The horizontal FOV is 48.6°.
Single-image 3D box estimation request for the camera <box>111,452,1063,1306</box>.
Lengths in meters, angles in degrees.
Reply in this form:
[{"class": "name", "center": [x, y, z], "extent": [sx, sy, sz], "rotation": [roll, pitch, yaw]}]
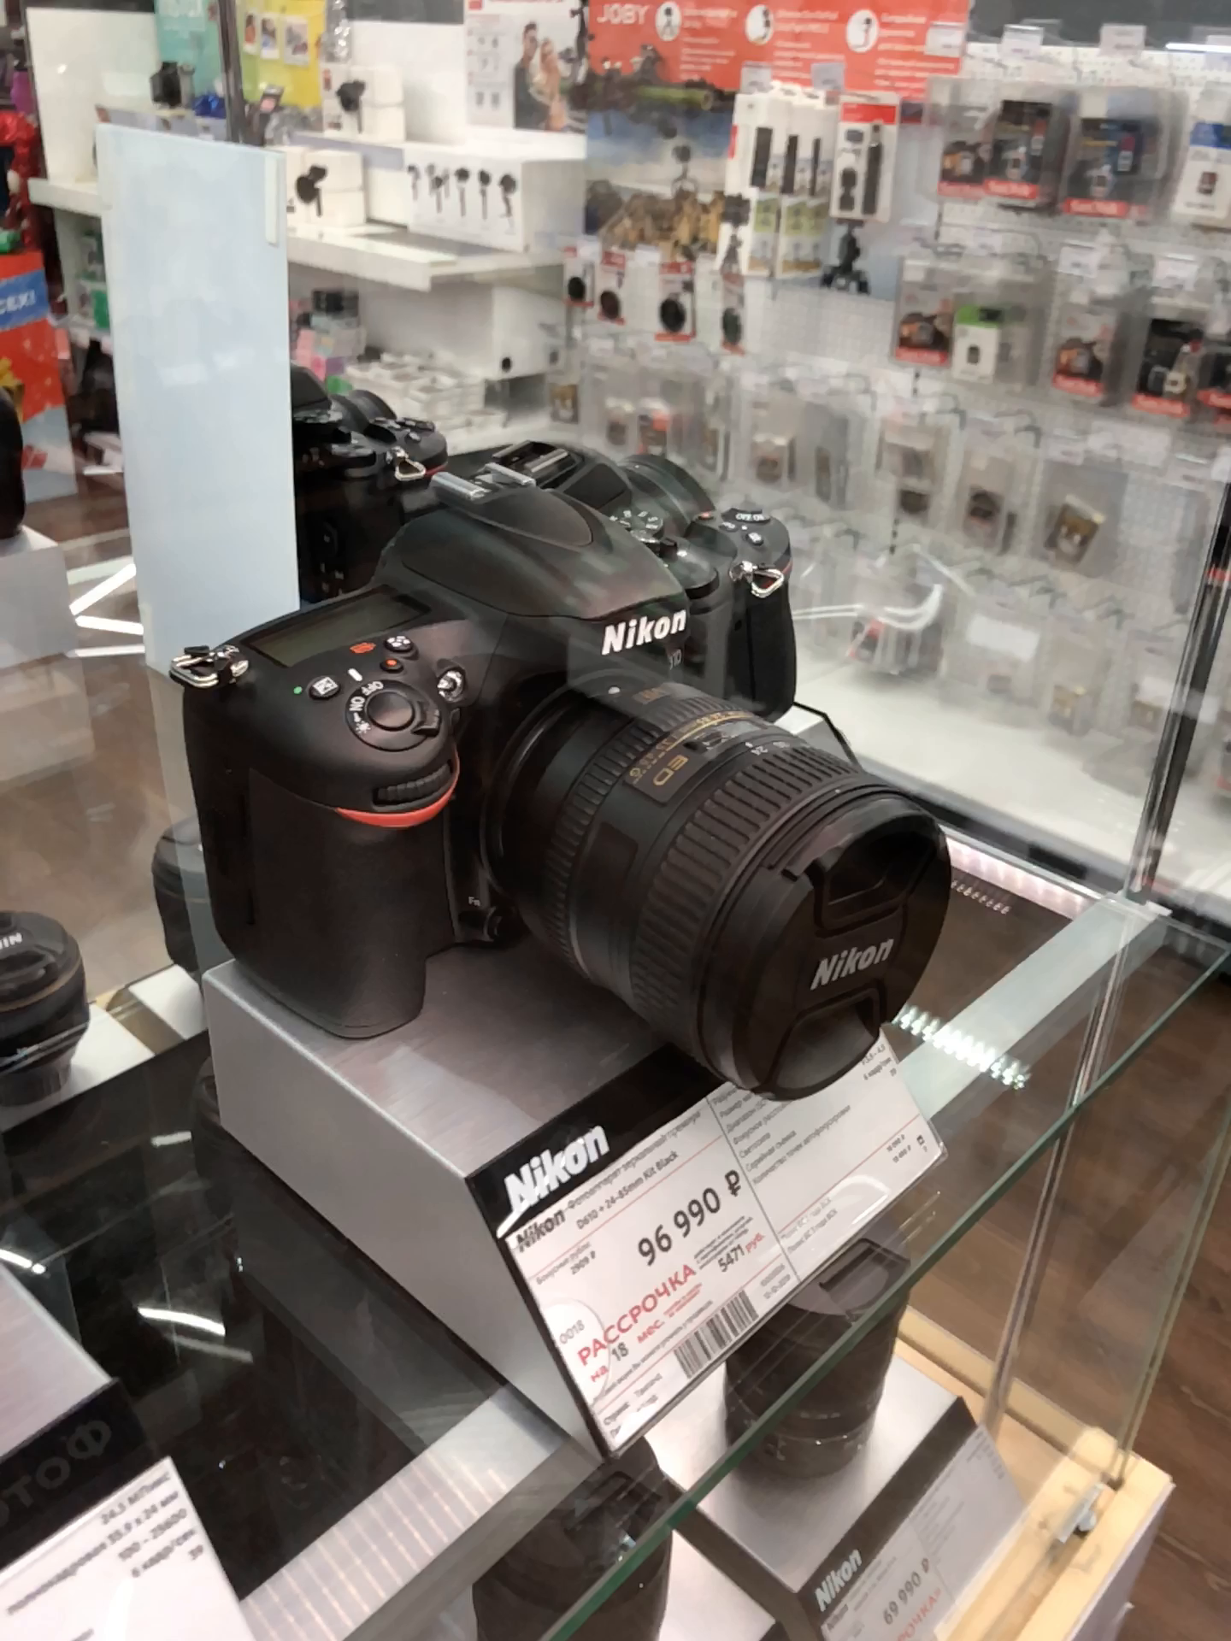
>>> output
[{"class": "camera", "center": [-0.011, -0.007, 0.326], "extent": [0.148, 0.109, 0.150], "rotation": [-21, 37, -35]}]
